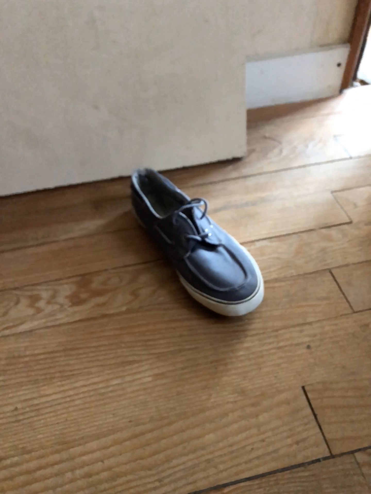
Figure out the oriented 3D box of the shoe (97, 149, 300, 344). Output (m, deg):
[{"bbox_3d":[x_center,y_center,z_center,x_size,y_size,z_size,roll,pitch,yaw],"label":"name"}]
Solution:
[{"bbox_3d":[0.003,-0.018,0.522,0.100,0.060,0.270,-29,53,-22],"label":"shoe"}]
